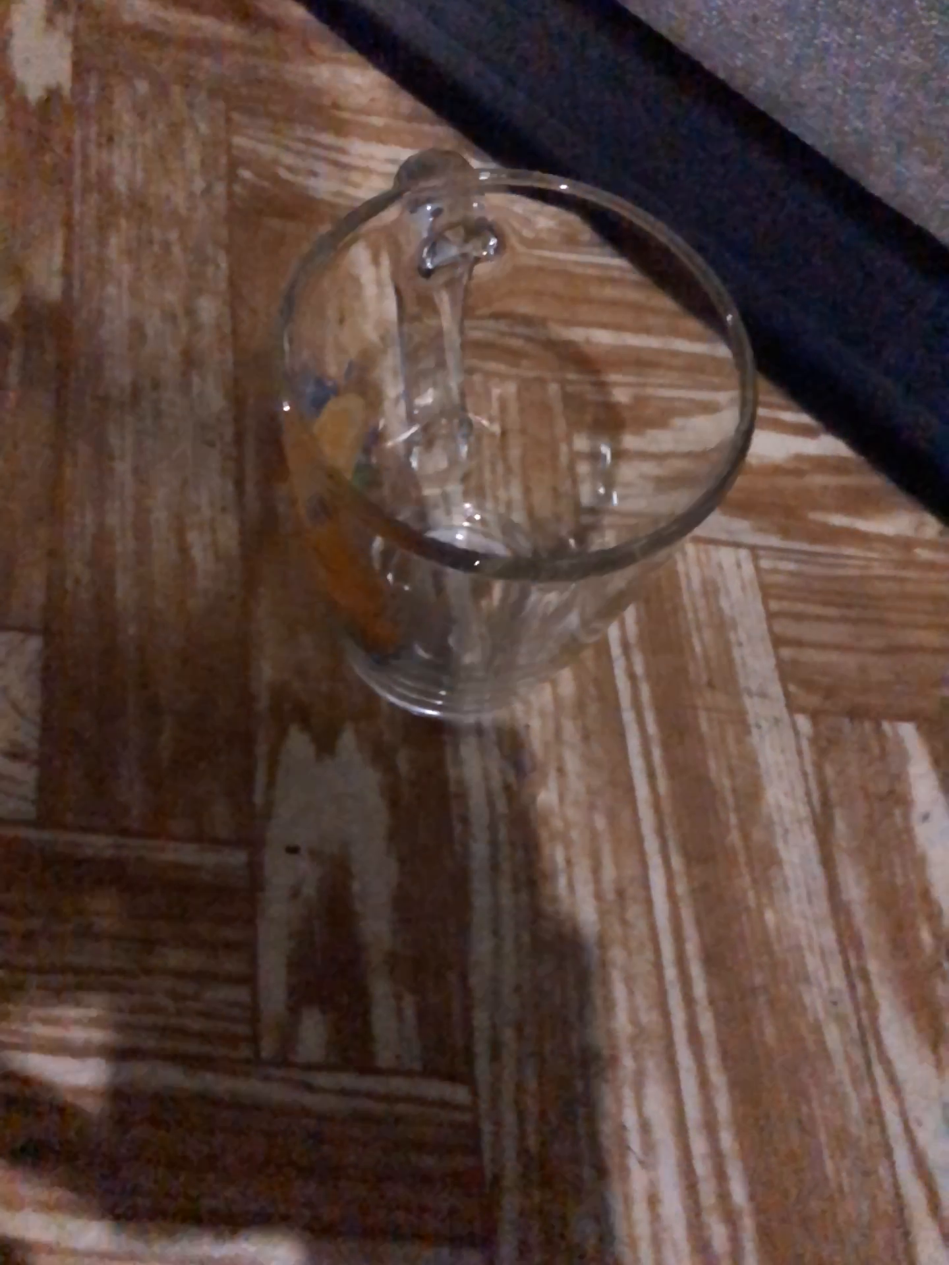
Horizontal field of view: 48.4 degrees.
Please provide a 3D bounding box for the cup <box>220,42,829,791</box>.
[{"bbox_3d":[-0.001,-0.041,0.228,0.085,0.098,0.117,-7,69,-10],"label":"cup"}]
